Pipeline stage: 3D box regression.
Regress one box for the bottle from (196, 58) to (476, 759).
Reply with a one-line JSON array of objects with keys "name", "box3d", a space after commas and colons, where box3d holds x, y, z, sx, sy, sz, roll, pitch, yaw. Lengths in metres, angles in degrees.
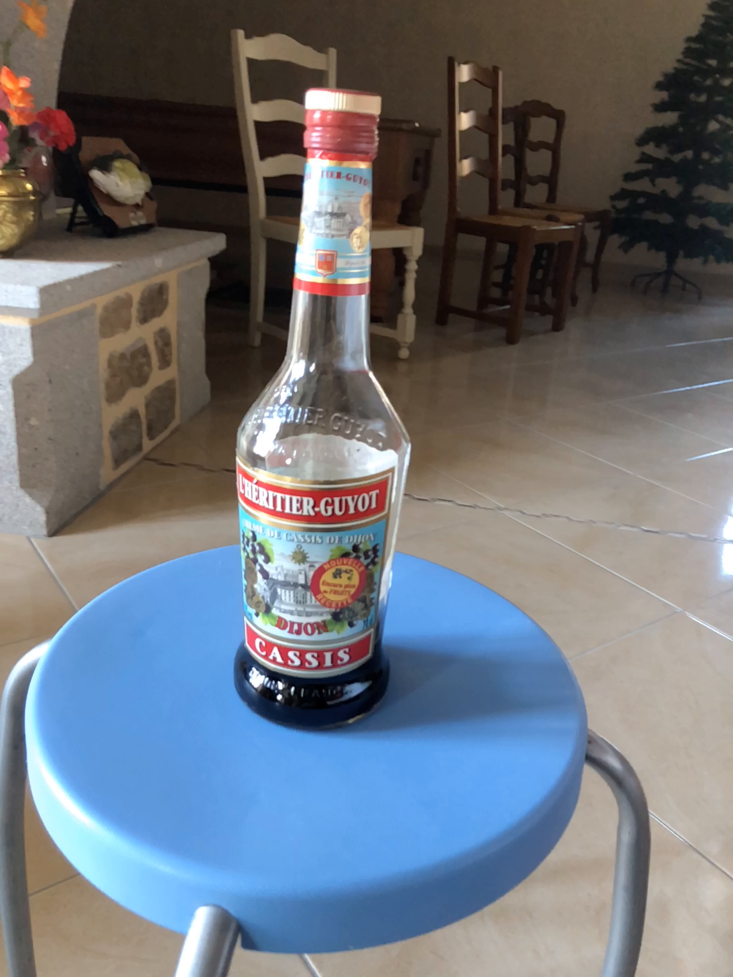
[{"name": "bottle", "box3d": [-0.019, -0.030, 0.385, 0.090, 0.298, 0.091, 4, 22, -2]}]
